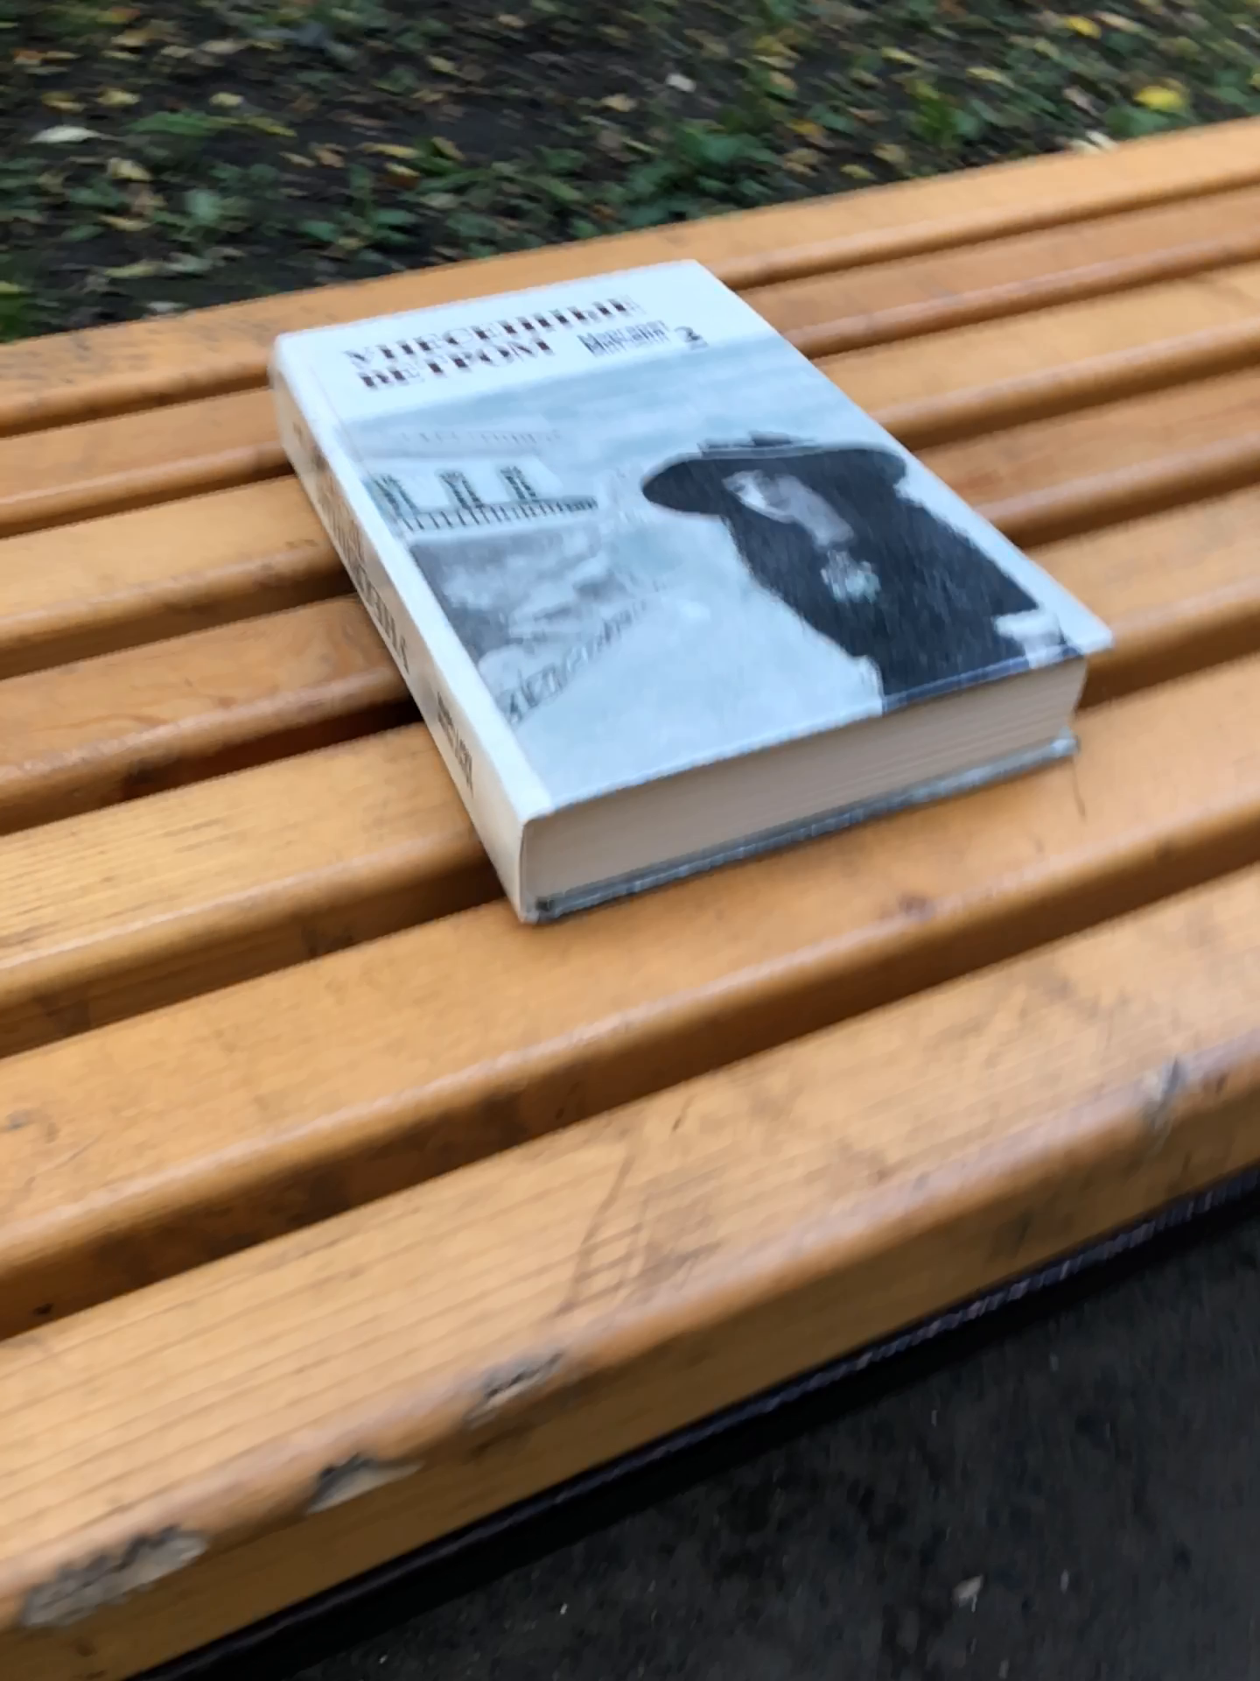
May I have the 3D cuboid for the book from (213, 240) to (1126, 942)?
[{"bbox_3d":[-0.006,-0.080,0.339,0.140,0.030,0.211,-17,48,-17],"label":"book"}]
